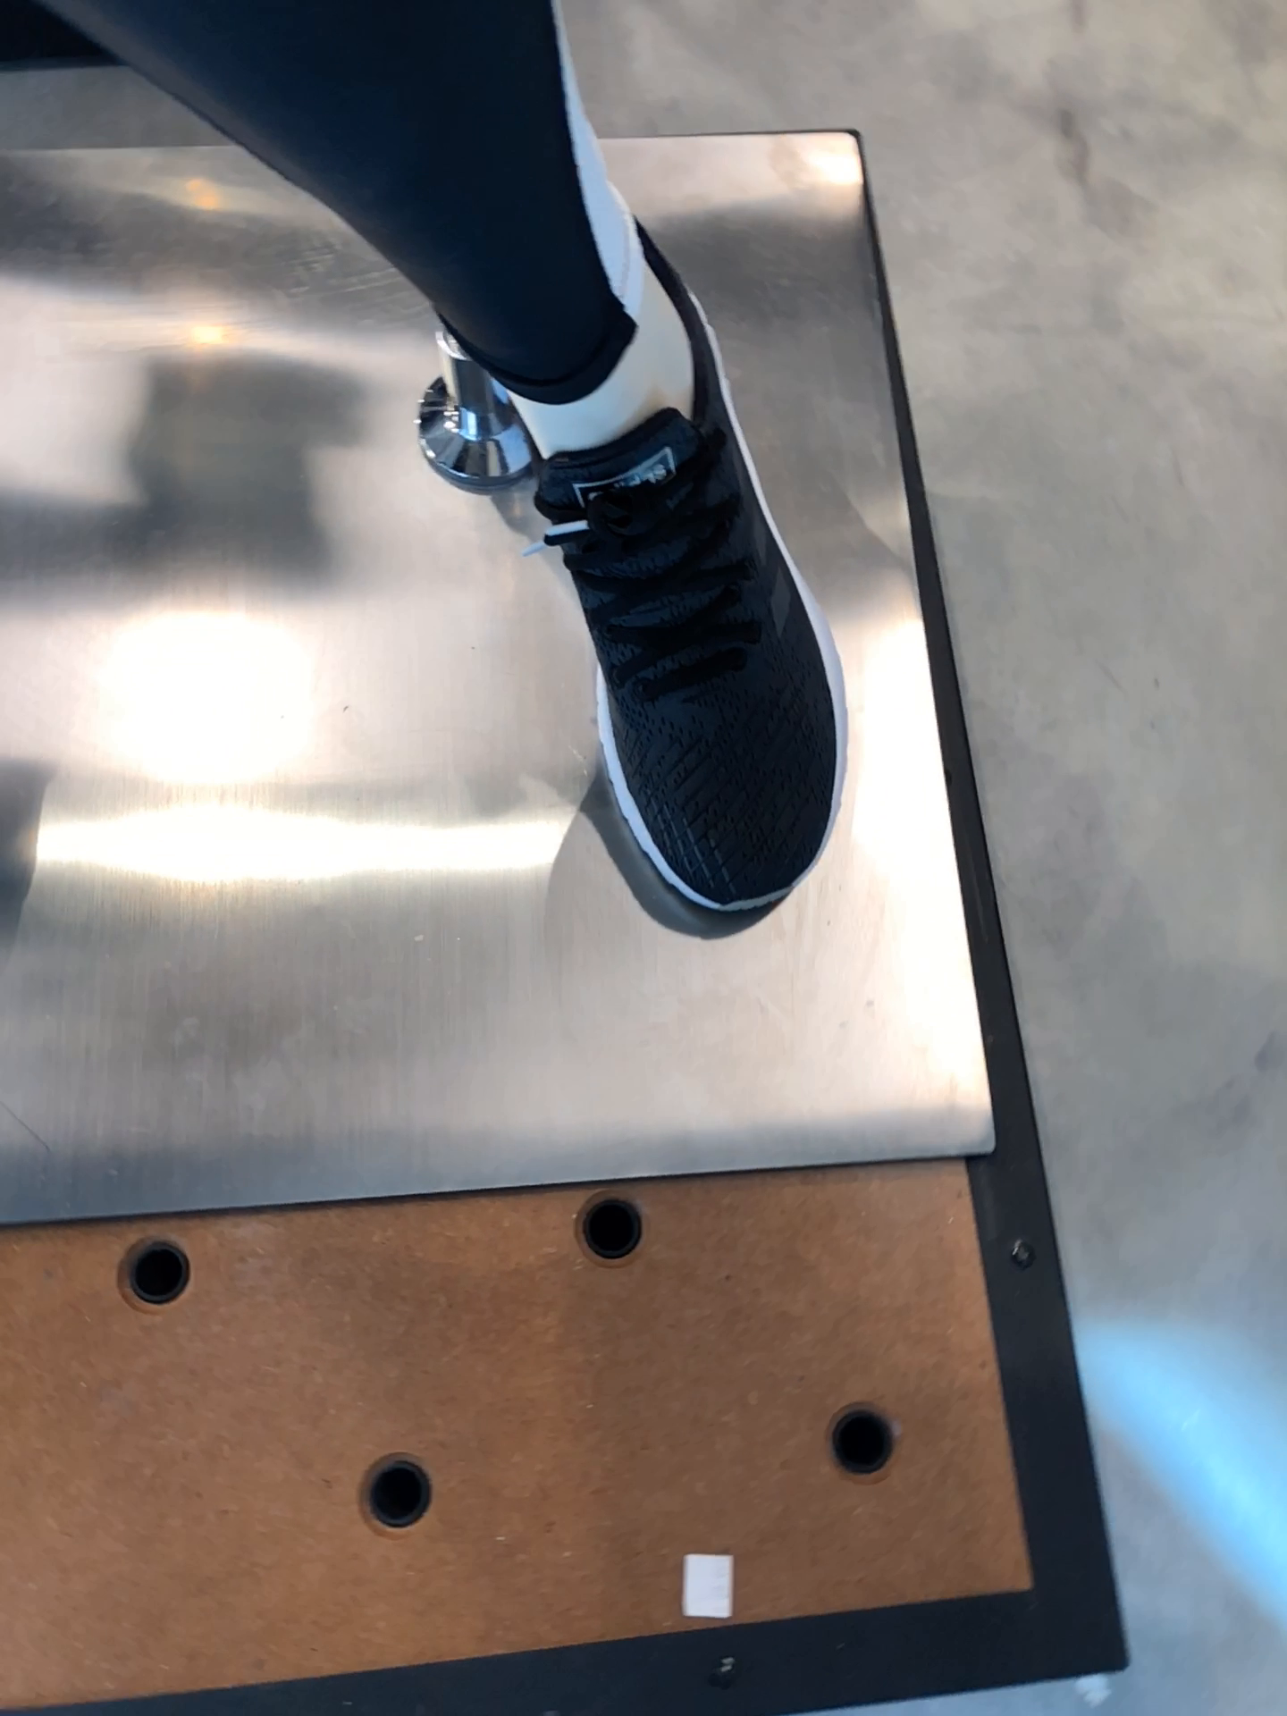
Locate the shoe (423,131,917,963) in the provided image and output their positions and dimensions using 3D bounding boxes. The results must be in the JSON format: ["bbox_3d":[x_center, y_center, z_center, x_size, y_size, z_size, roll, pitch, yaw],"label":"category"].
[{"bbox_3d":[0.009,-0.115,0.569,0.110,0.100,0.290,-15,82,2],"label":"shoe"}]
